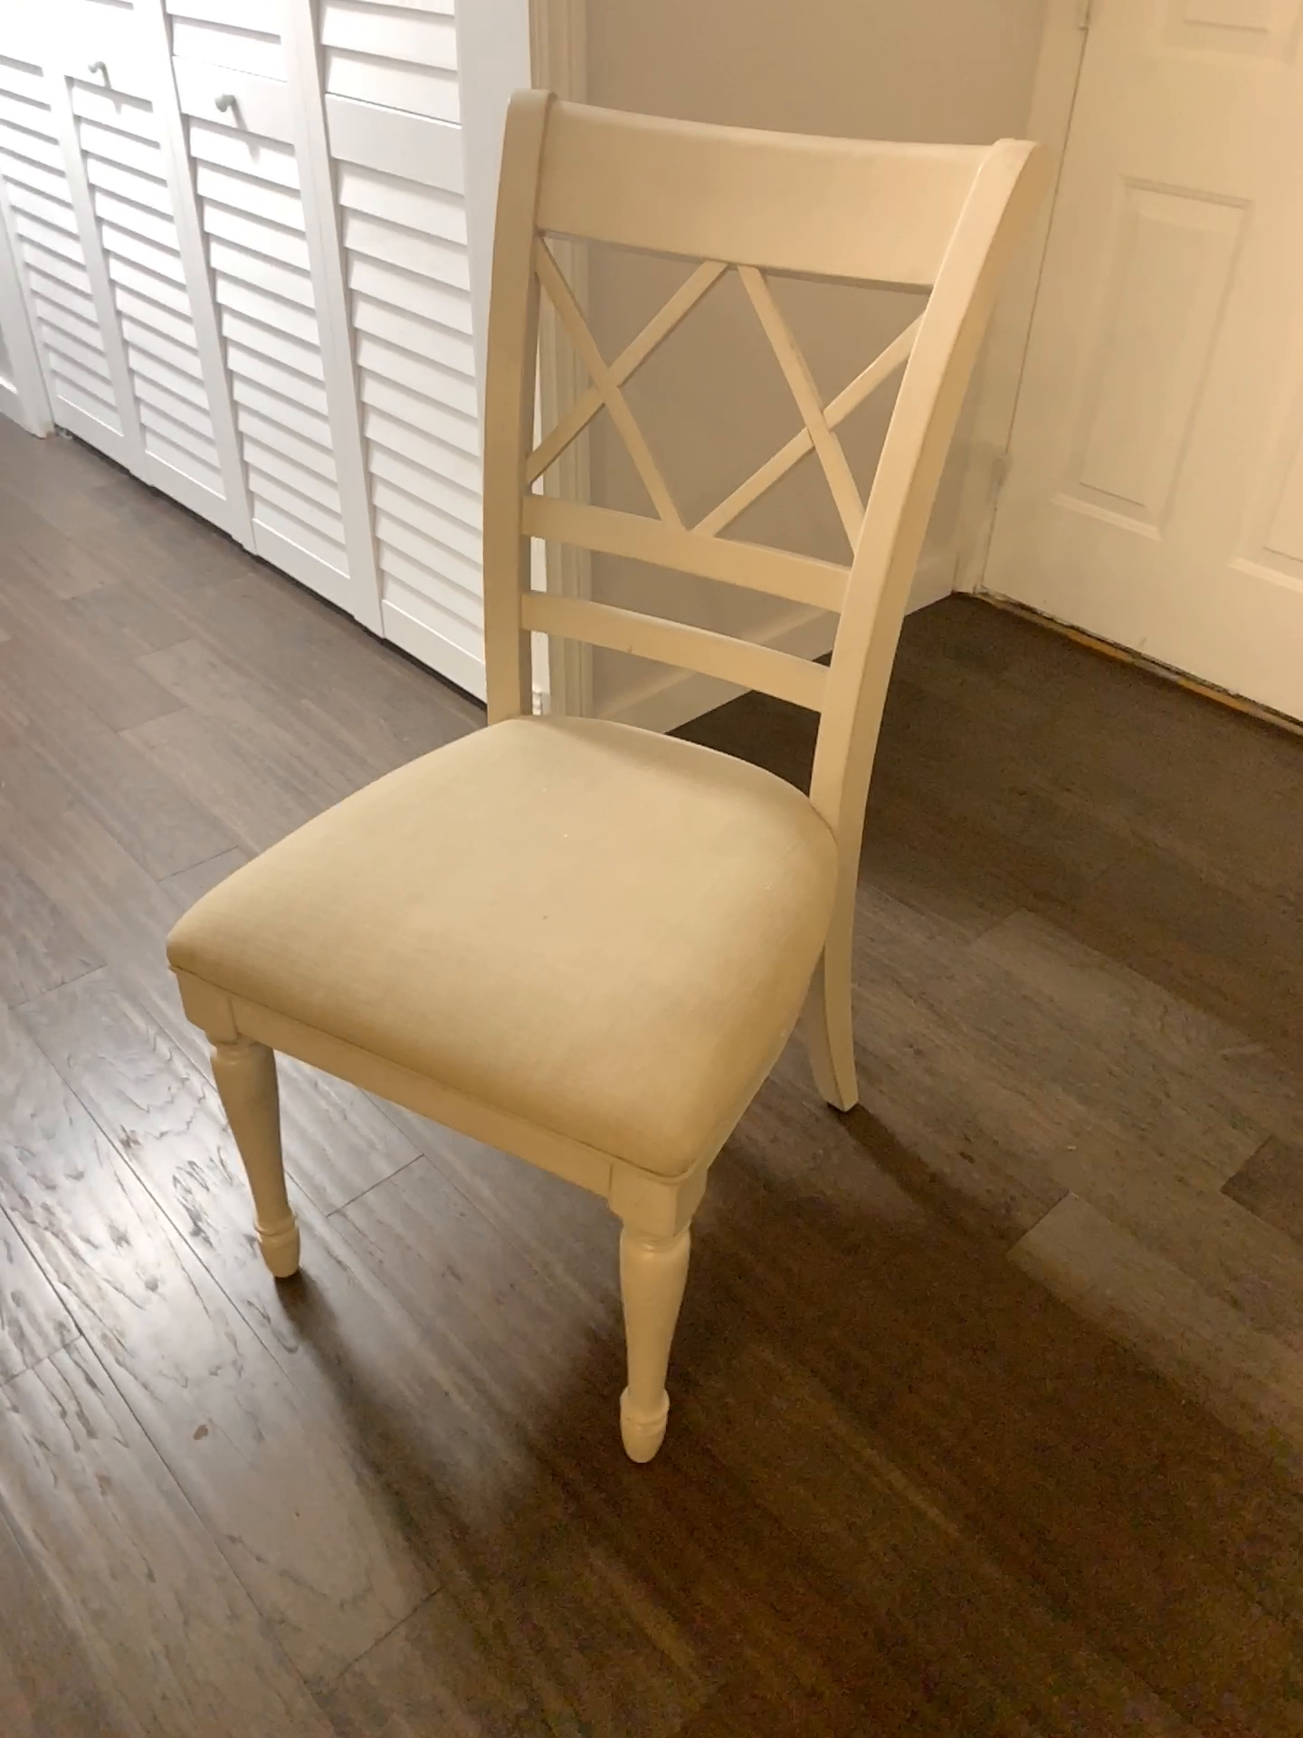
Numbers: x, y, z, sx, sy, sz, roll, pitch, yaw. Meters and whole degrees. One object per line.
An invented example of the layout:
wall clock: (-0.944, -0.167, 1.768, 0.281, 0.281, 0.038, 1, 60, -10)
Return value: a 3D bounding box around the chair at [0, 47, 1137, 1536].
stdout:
chair: (-0.057, -0.077, 1.146, 0.581, 0.994, 0.613, 18, 41, 21)
